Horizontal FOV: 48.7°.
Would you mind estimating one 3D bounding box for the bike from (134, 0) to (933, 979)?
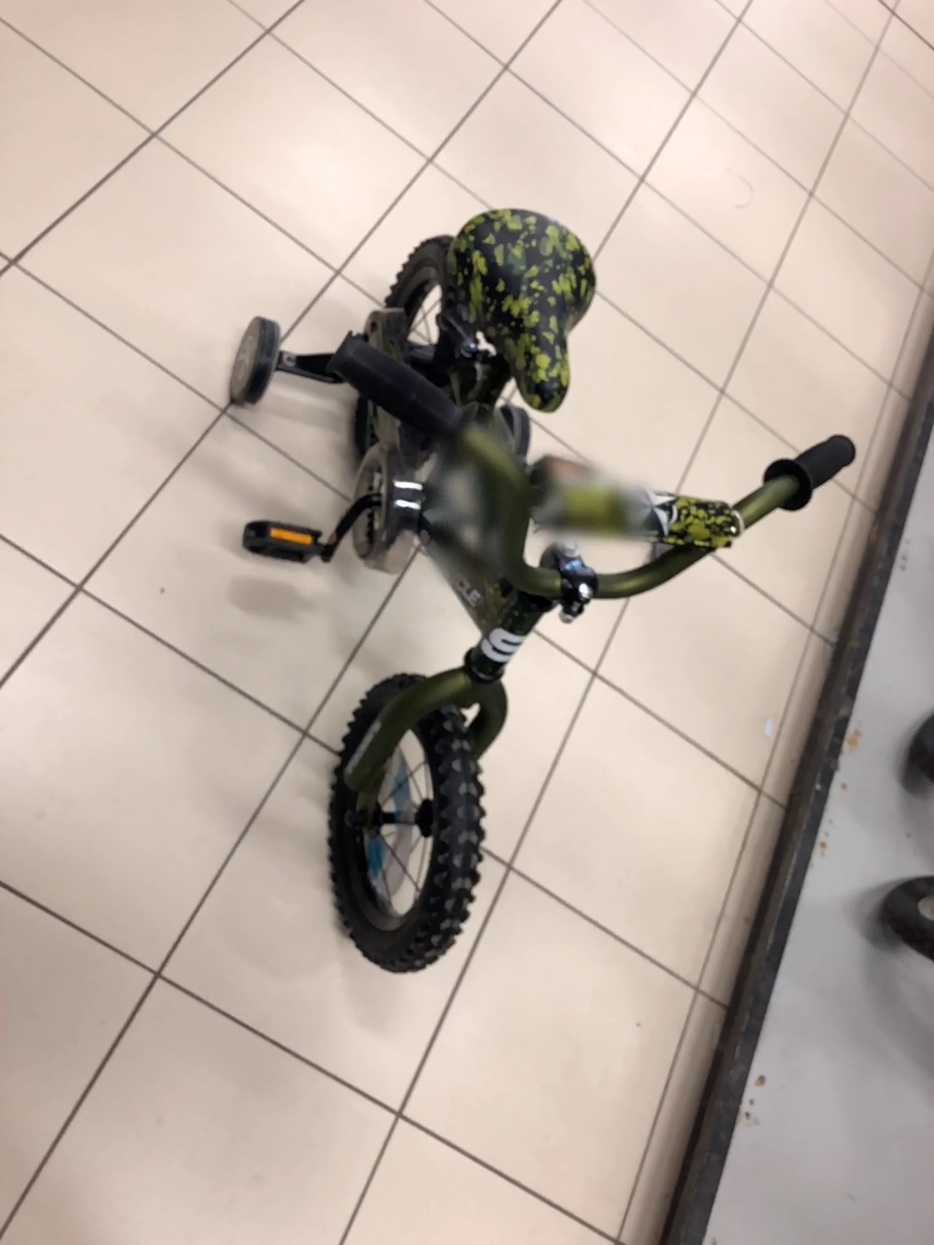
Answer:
[{"bbox_3d":[0.031,-0.100,1.002,0.533,0.557,0.817,9,64,-24],"label":"bike"}]
